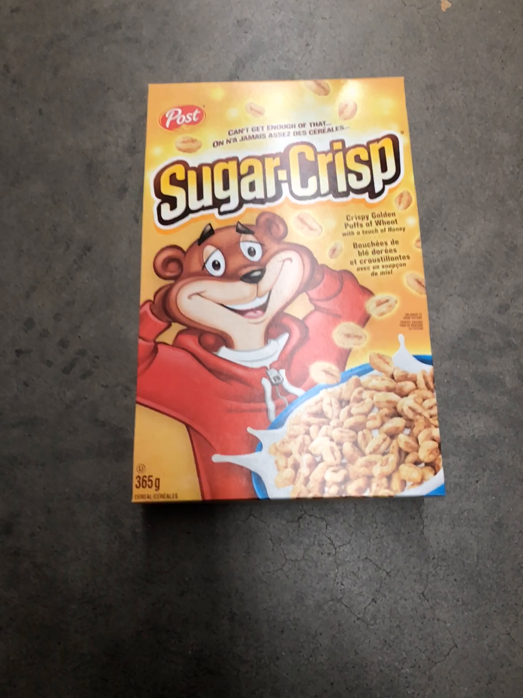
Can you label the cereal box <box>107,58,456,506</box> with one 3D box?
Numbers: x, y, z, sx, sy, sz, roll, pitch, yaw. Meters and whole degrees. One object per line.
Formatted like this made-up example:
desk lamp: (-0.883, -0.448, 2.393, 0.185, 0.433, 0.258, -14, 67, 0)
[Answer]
cereal box: (0.010, -0.049, 0.397, 0.200, 0.060, 0.301, -1, 75, 2)
